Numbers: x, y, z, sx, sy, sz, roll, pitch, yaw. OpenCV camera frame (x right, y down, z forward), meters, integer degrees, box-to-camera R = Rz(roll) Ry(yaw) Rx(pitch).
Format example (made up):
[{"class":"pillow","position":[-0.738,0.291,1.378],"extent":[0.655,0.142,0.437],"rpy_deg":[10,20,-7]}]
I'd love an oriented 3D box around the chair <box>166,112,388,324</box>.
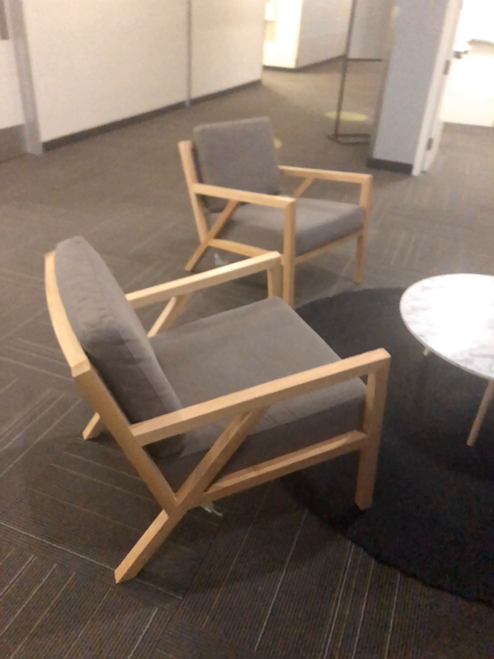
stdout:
[{"class":"chair","position":[0.145,-0.633,2.834],"extent":[0.801,0.774,0.725],"rpy_deg":[24,37,35]}]

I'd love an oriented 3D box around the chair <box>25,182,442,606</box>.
[{"class":"chair","position":[-0.077,0.111,1.618],"extent":[0.872,0.754,0.724],"rpy_deg":[-15,36,-18]}]
